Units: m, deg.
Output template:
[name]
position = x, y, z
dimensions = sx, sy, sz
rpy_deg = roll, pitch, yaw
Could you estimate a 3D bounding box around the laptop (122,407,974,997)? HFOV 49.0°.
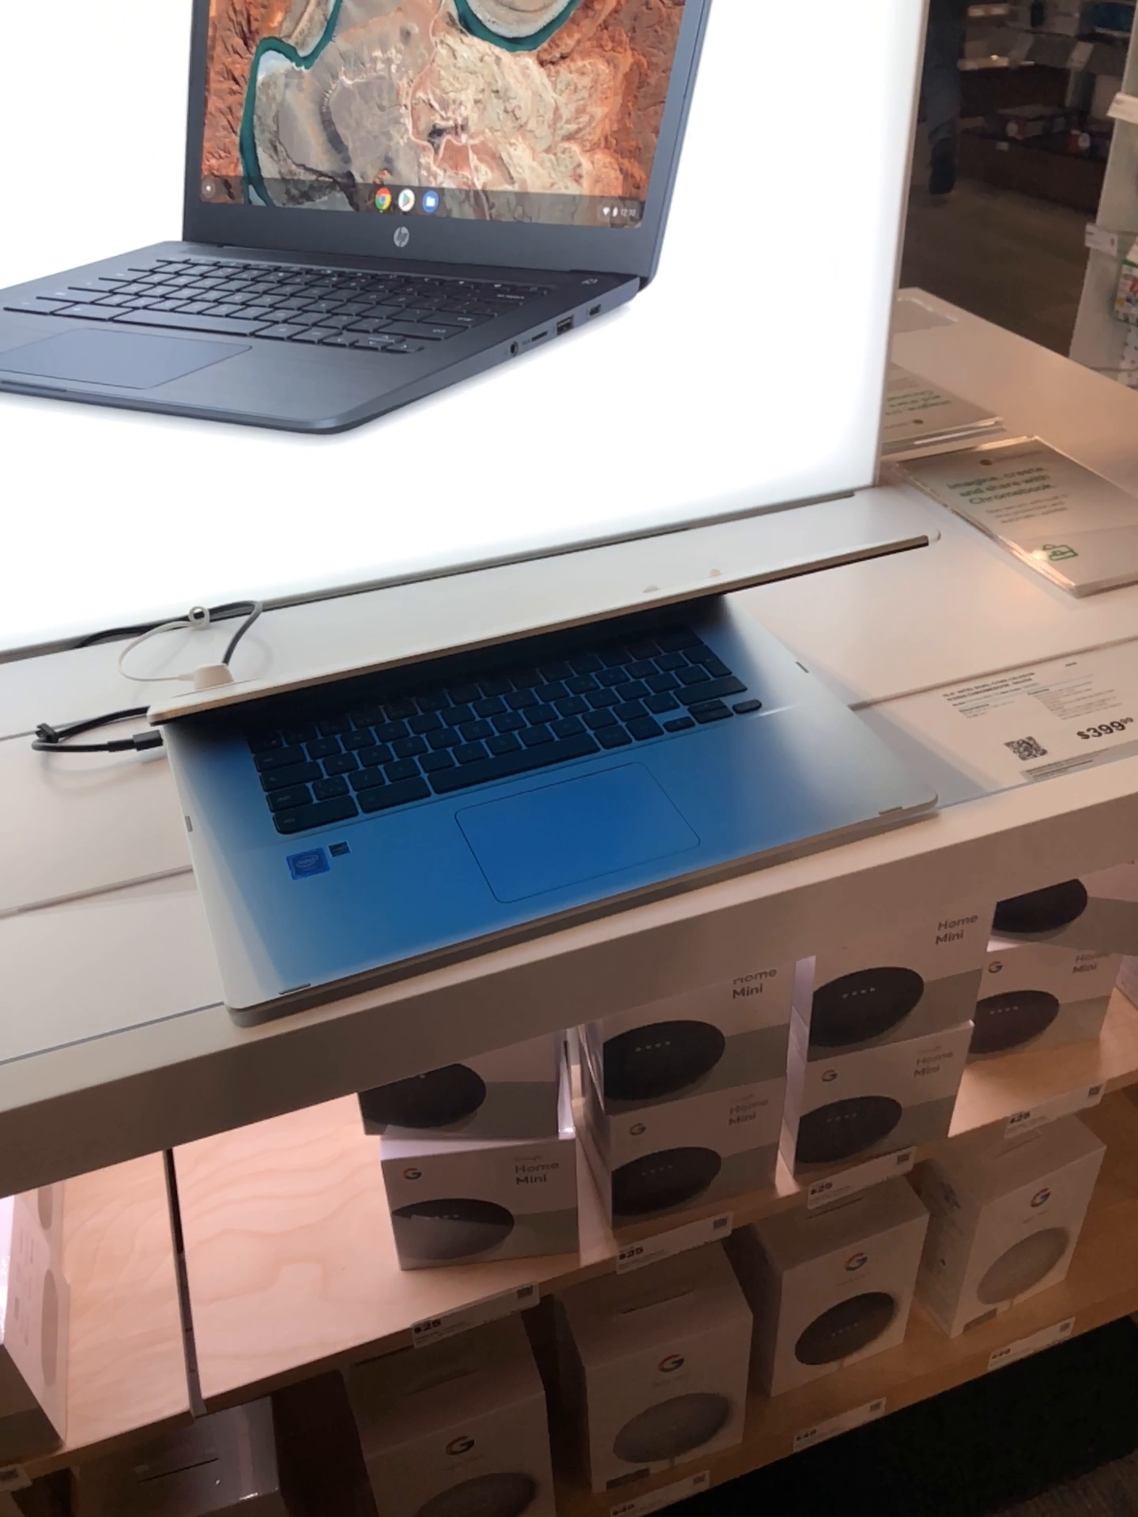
[laptop]
position = -0.022, -0.049, 0.622
dimensions = 0.341, 0.113, 0.222
rpy_deg = -15, 40, -14
